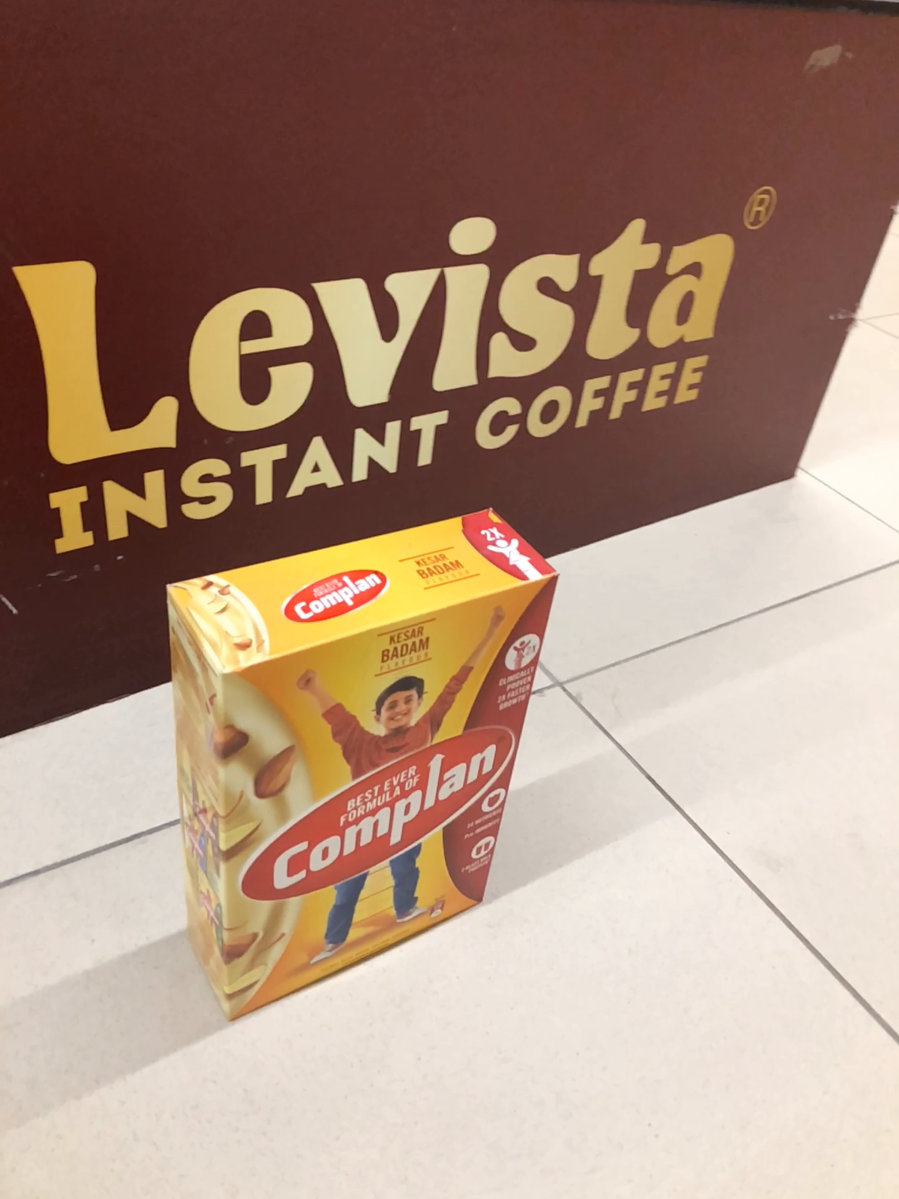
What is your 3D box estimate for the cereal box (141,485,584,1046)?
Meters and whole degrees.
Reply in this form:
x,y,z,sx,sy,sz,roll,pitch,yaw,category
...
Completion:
x,y,z,sx,sy,sz,roll,pitch,yaw,category
-0.040,0.074,0.425,0.151,0.218,0.060,-17,43,-29,cereal box
